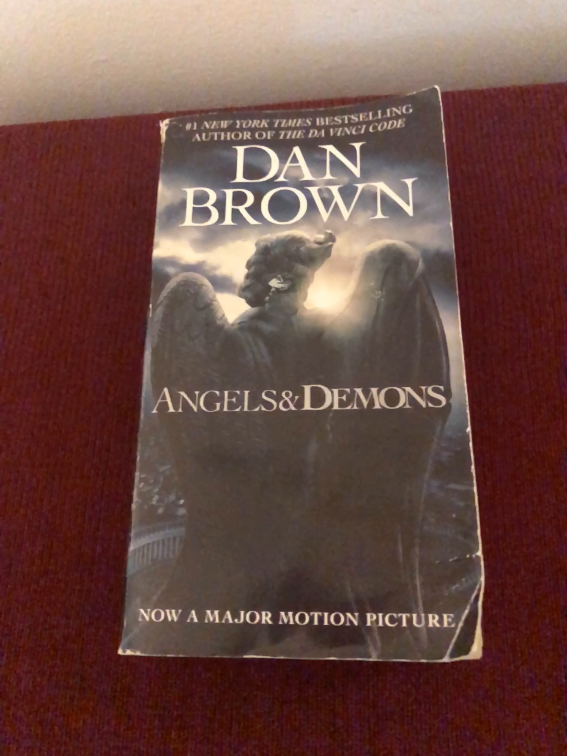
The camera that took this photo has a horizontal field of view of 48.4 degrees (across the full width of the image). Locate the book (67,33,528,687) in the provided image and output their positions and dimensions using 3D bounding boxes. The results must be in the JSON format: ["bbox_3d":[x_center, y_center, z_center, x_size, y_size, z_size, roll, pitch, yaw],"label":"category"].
[{"bbox_3d":[0.003,-0.014,0.217,0.120,0.040,0.210,-3,70,8],"label":"book"}]
